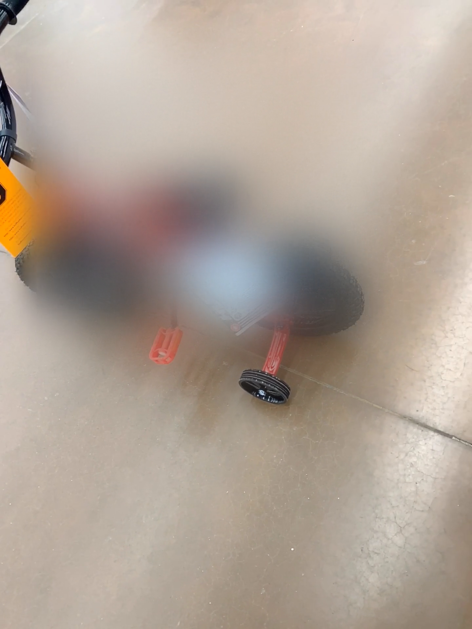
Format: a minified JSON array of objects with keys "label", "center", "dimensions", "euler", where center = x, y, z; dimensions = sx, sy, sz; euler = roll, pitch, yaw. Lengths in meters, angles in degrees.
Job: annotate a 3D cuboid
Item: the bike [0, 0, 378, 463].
[{"label":"bike","center":[-0.172,-0.131,0.759],"dimensions":[0.704,0.627,0.458],"euler":[5,60,14]}]
